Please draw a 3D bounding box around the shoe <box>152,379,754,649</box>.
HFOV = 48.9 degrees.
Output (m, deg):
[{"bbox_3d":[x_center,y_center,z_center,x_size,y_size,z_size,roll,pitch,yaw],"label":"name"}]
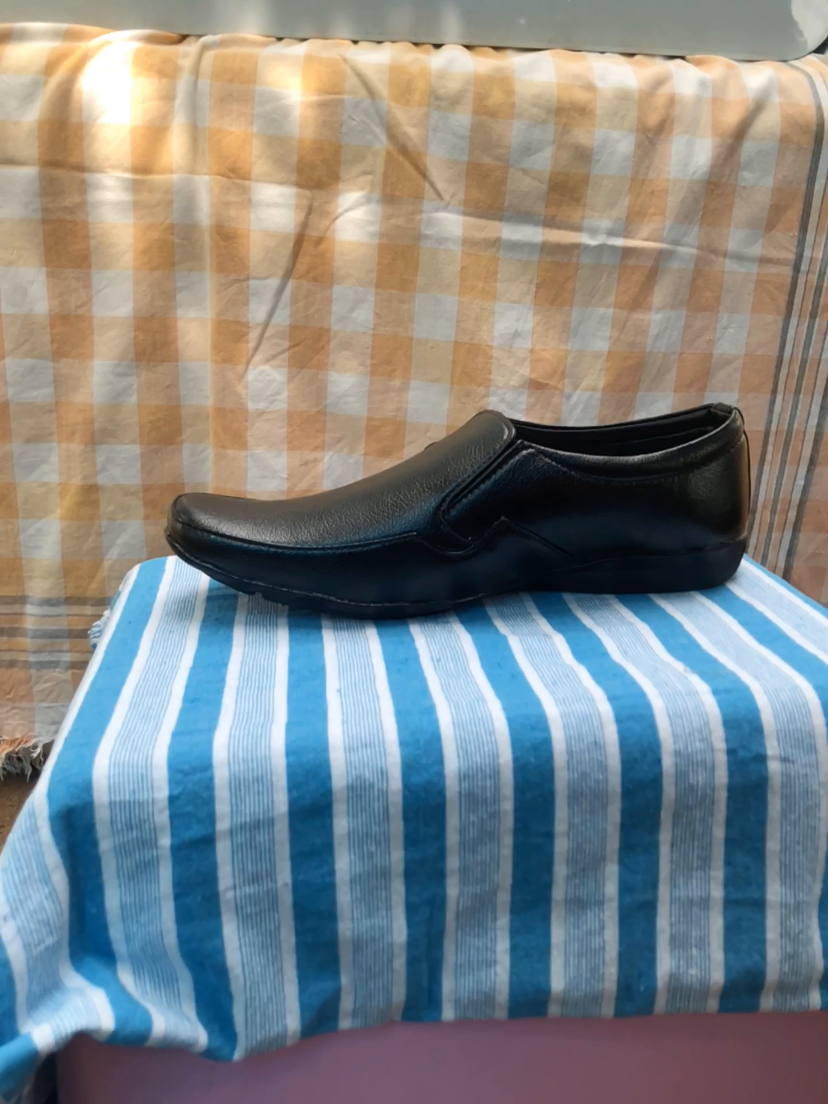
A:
[{"bbox_3d":[0.018,-0.031,0.497,0.300,0.110,0.100,-4,18,-14],"label":"shoe"}]
